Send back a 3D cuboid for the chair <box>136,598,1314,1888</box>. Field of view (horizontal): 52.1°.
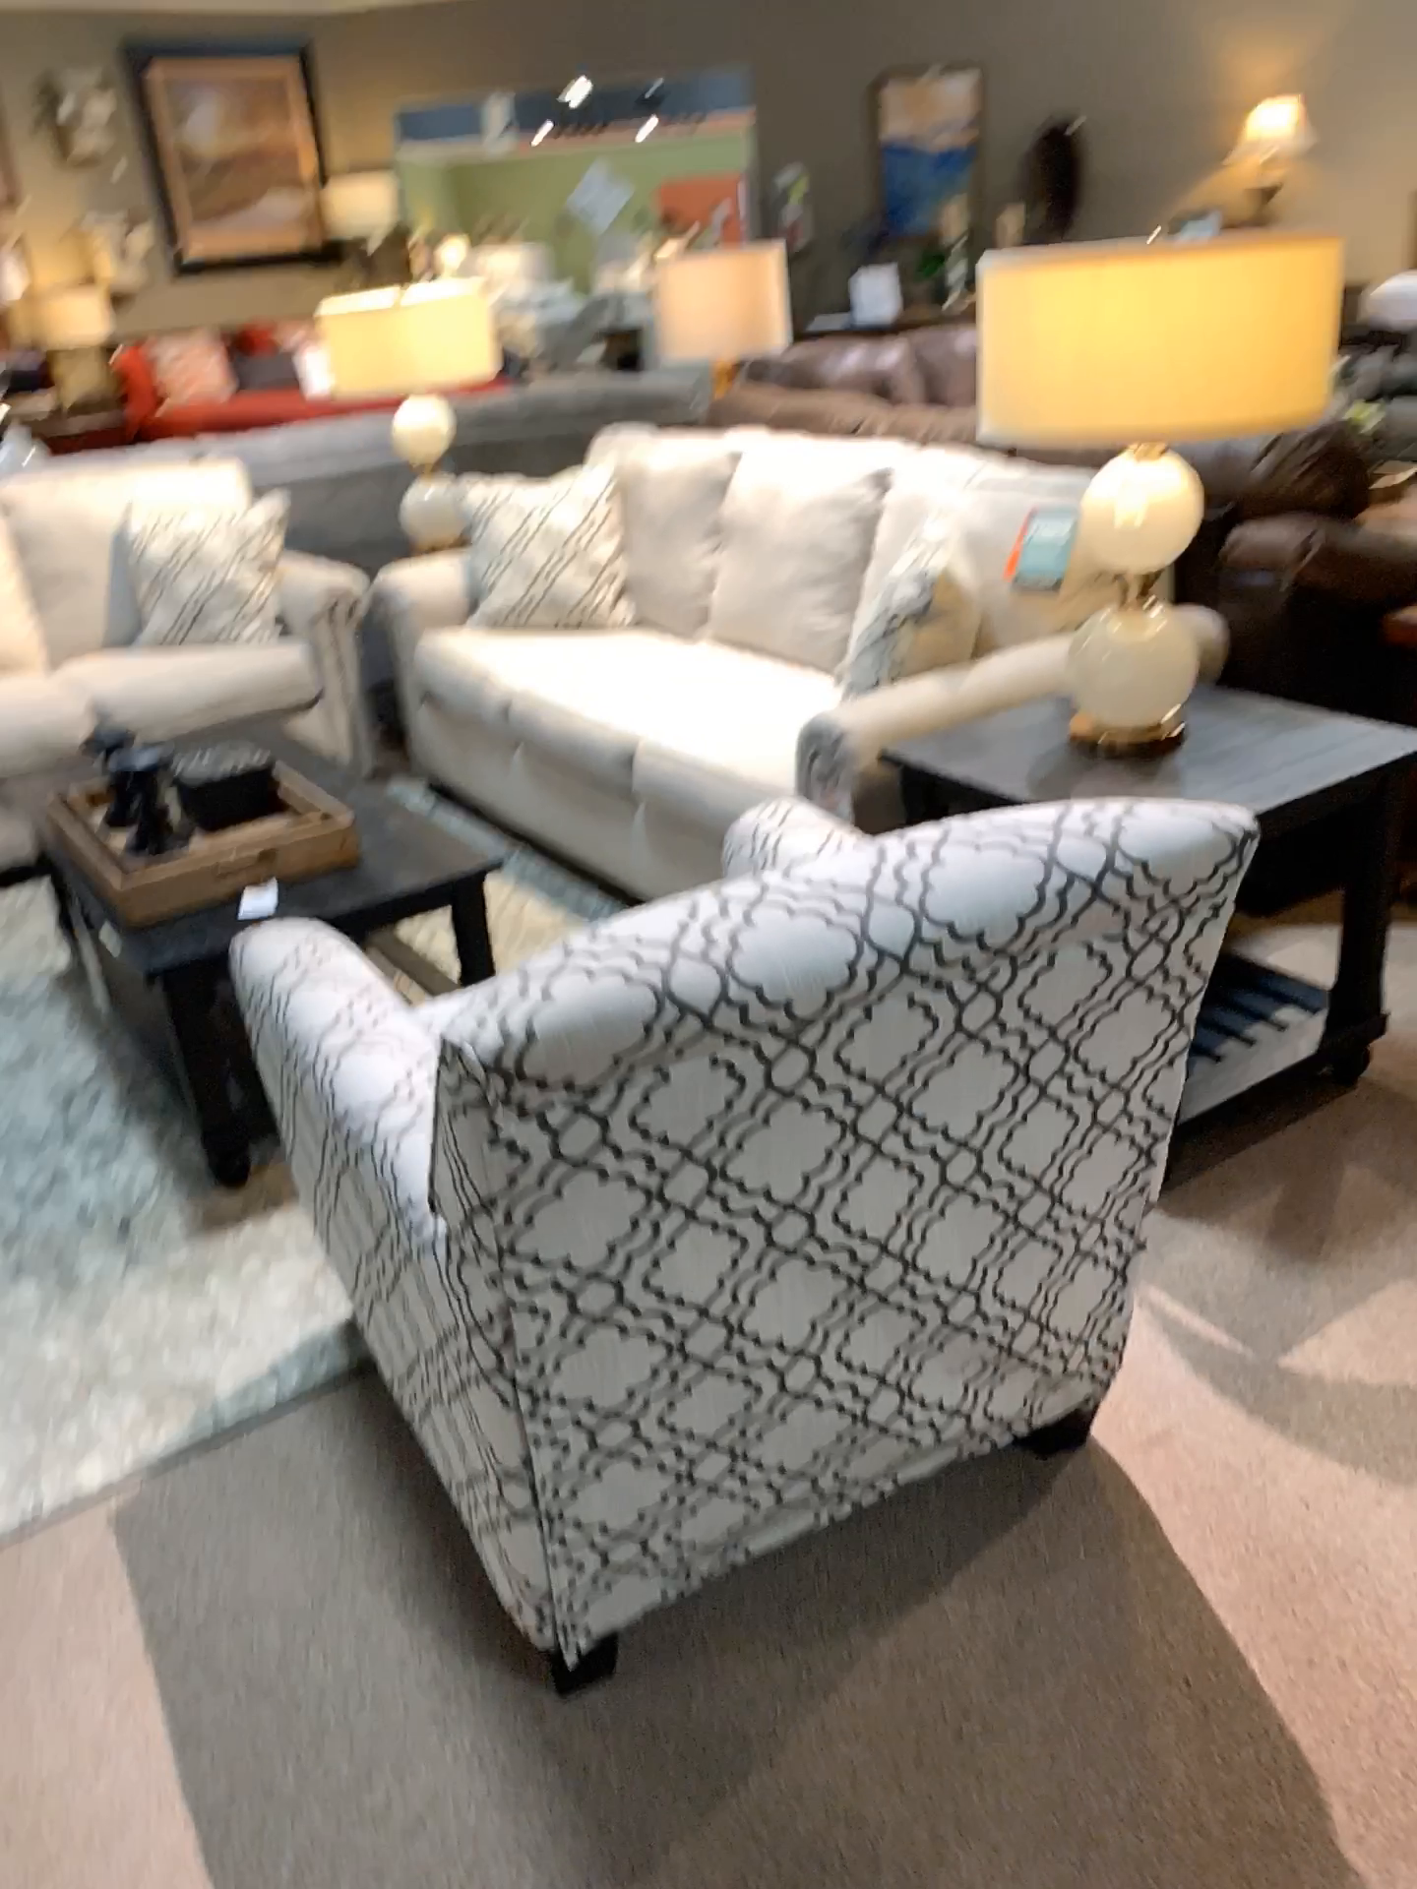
[{"bbox_3d":[-0.042,0.174,1.676,0.874,0.847,0.969,-16,27,-22],"label":"chair"}]
